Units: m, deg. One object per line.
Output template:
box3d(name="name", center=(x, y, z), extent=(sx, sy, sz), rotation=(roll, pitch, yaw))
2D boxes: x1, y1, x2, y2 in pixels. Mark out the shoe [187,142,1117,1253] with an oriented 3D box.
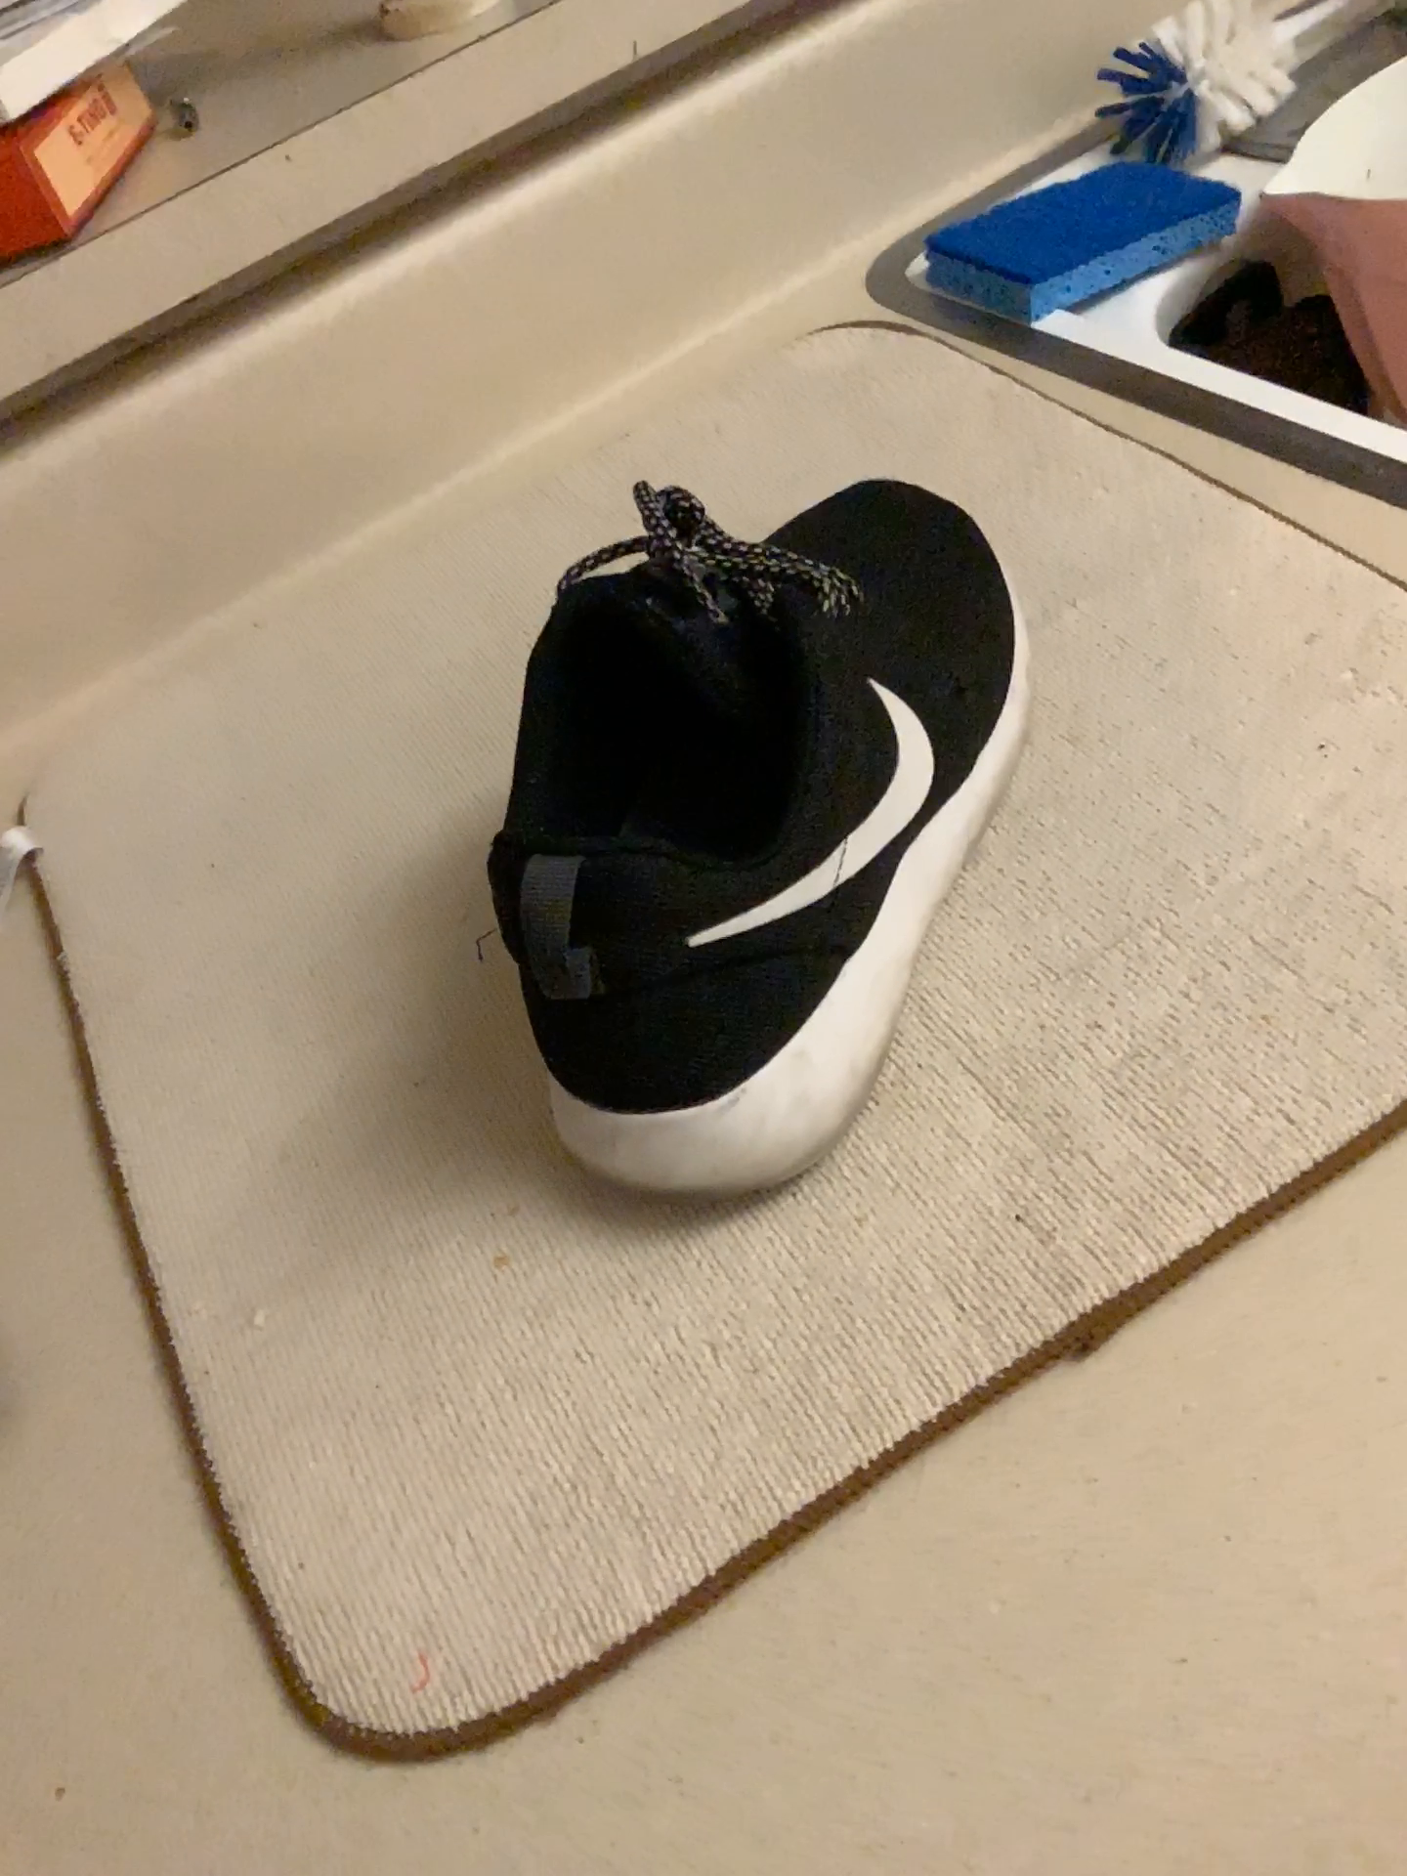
box3d(name="shoe", center=(0.015, -0.079, 0.415), extent=(0.130, 0.120, 0.280), rotation=(5, 50, 24))
